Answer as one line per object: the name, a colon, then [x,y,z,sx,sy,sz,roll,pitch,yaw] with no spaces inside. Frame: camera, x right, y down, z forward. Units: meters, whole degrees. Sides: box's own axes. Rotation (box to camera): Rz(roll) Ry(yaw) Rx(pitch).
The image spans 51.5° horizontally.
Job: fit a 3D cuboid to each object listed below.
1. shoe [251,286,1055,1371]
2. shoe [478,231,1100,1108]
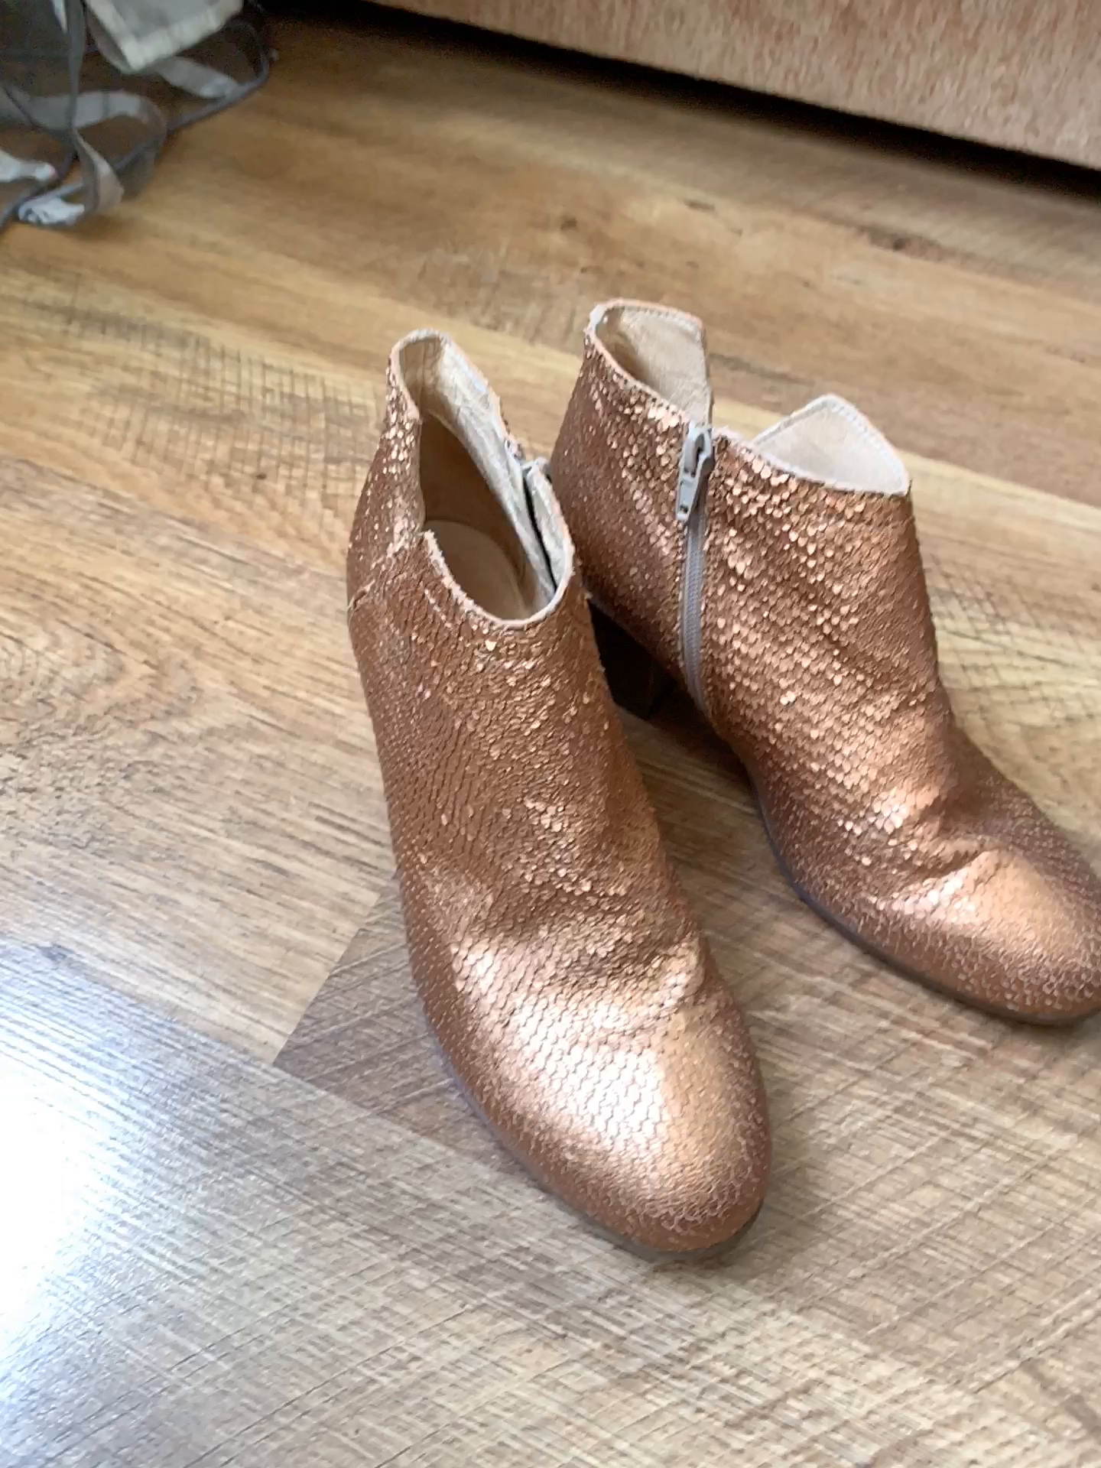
shoe: [-0.002,0.011,0.281,0.080,0.129,0.221,-15,52,-16]
shoe: [0.083,-0.025,0.324,0.080,0.129,0.221,-35,60,-29]
